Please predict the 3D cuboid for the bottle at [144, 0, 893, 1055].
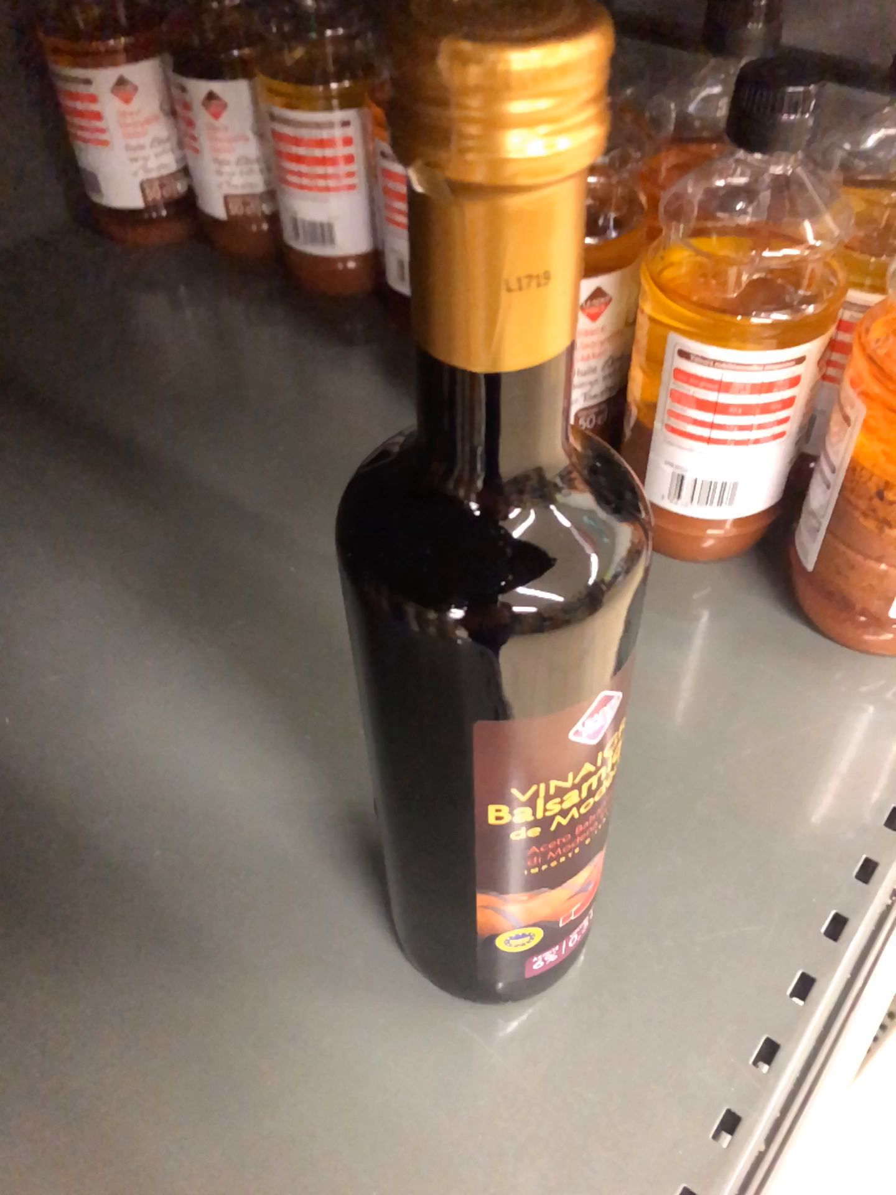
[{"bbox_3d":[0.012,0.005,0.229,0.070,0.268,0.070,-1,46,1],"label":"bottle"}]
